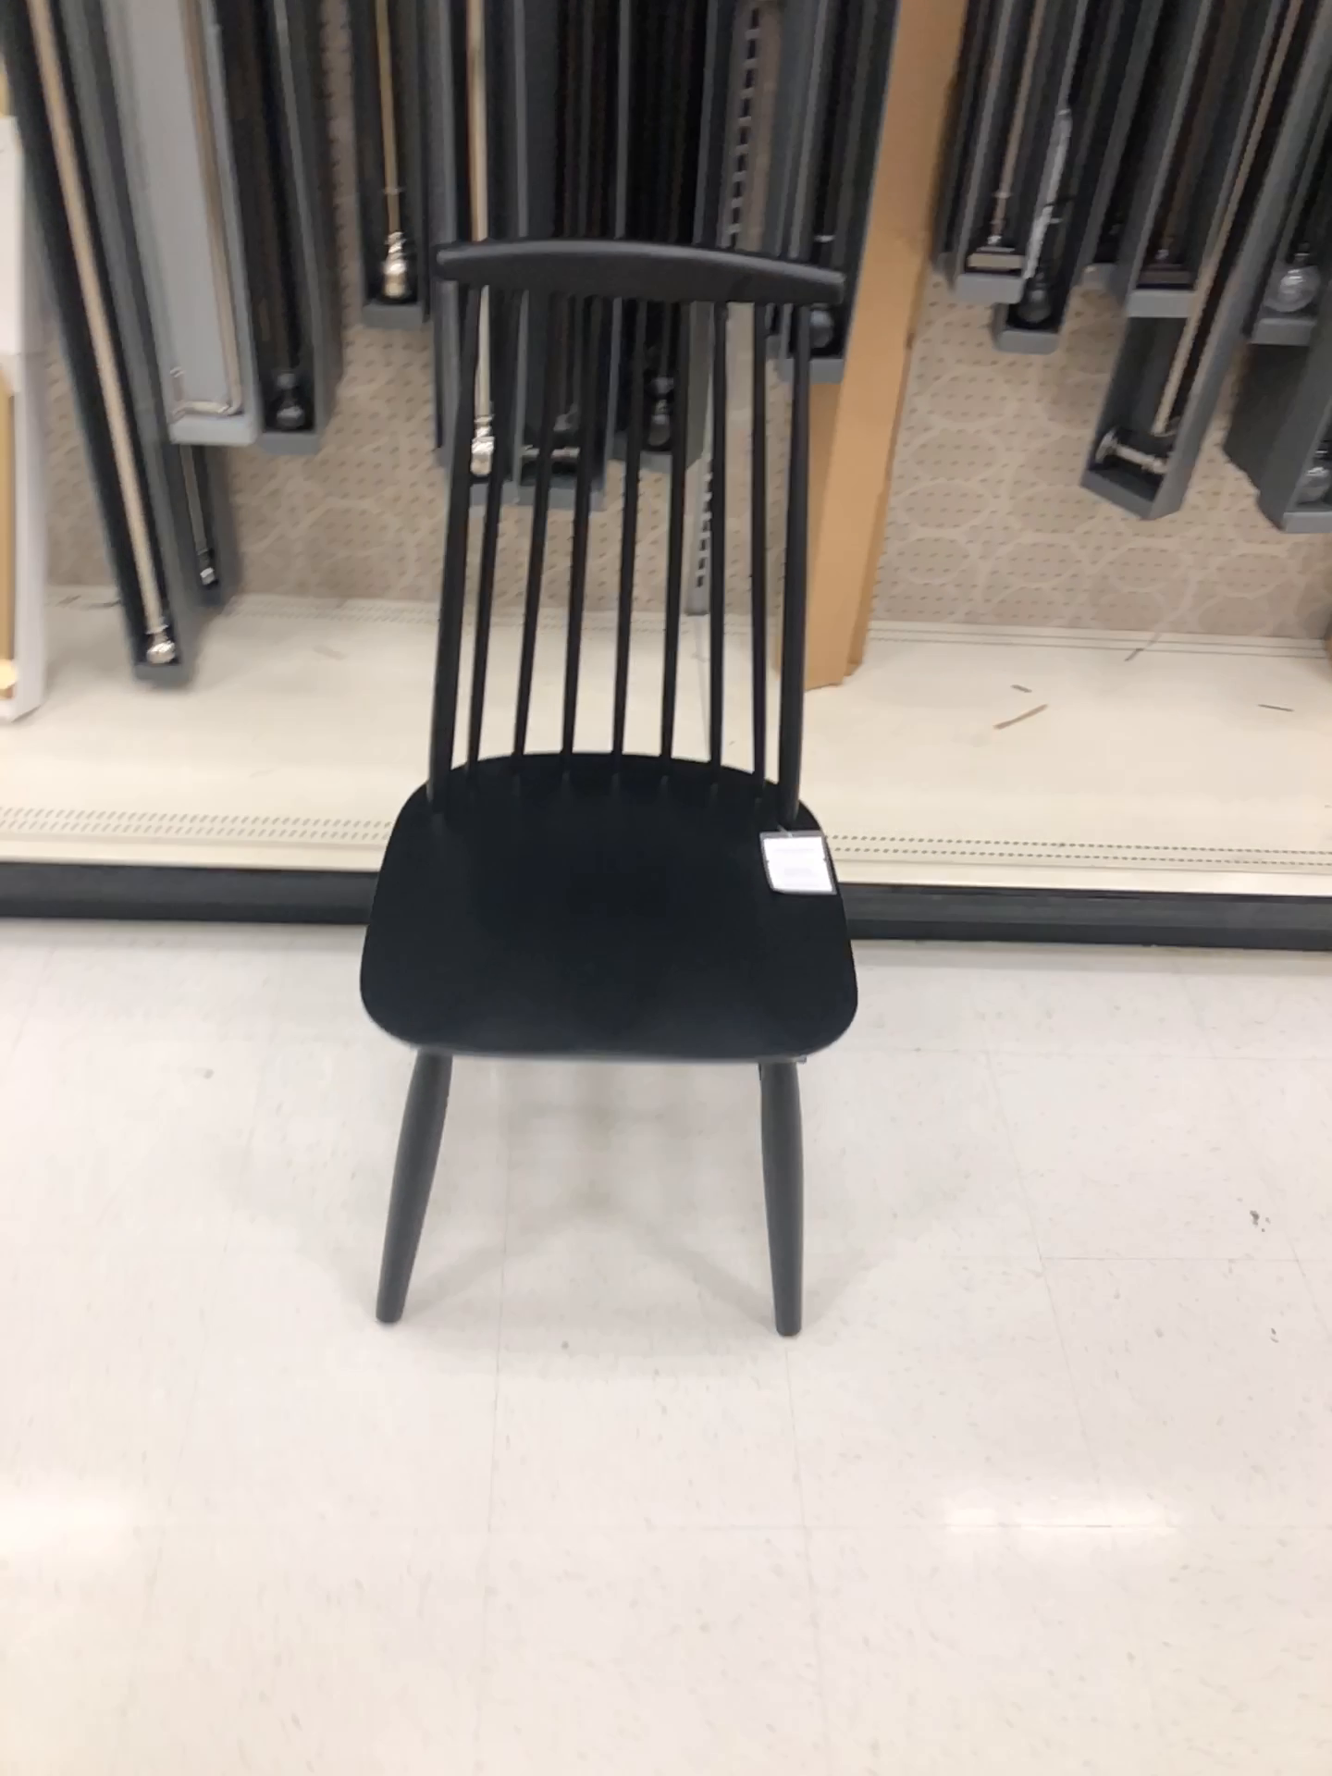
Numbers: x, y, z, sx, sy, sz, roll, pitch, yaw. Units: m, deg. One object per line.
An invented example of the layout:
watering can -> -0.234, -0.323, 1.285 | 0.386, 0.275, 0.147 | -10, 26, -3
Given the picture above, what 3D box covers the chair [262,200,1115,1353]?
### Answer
chair -> -0.020, -0.070, 1.411 | 0.517, 0.909, 0.611 | 2, 42, -4
